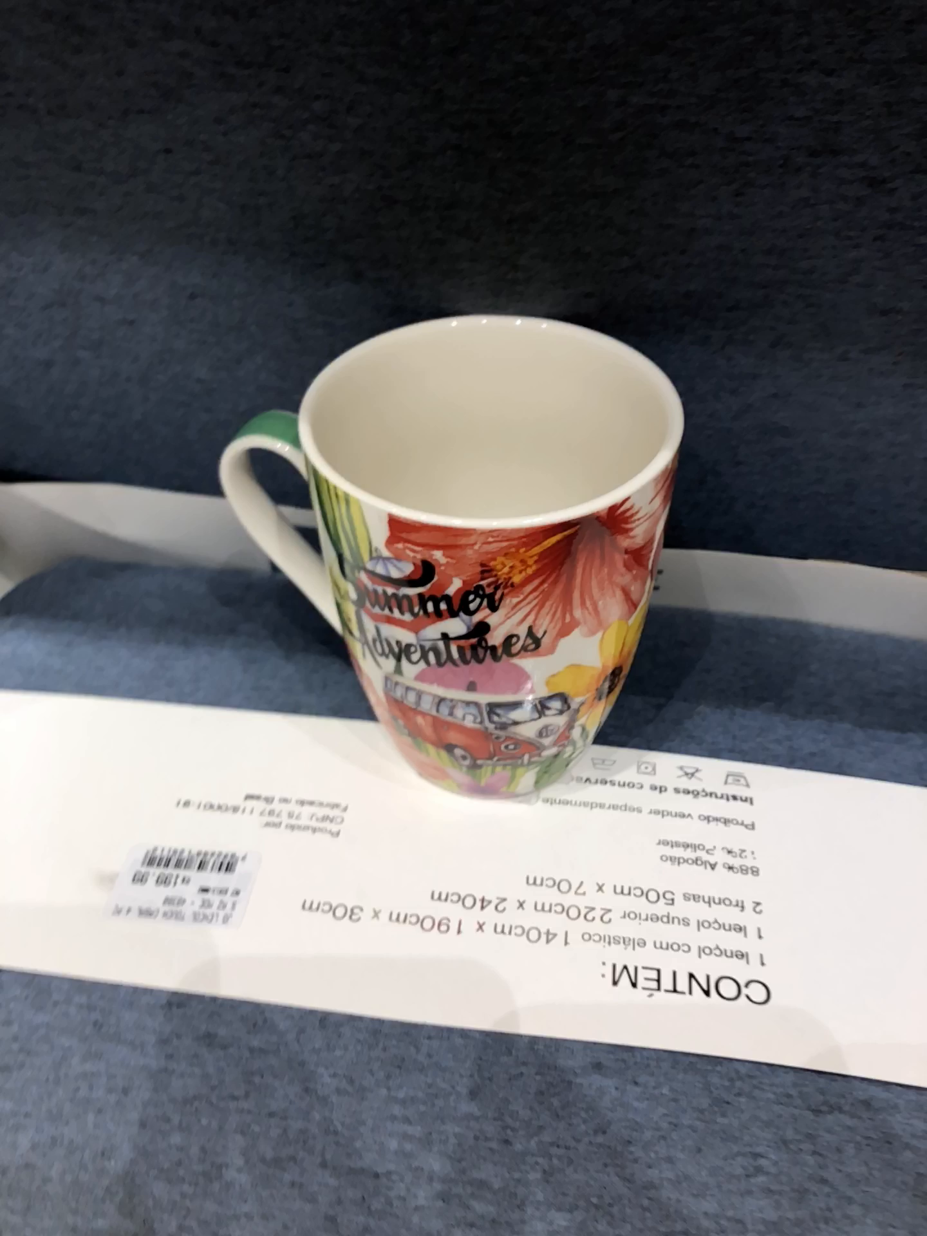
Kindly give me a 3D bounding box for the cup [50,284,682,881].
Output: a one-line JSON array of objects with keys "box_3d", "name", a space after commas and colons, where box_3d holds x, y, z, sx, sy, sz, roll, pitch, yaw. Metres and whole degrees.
[{"box_3d": [-0.012, -0.012, 0.241, 0.110, 0.090, 0.090, 7, 40, 7], "name": "cup"}]
